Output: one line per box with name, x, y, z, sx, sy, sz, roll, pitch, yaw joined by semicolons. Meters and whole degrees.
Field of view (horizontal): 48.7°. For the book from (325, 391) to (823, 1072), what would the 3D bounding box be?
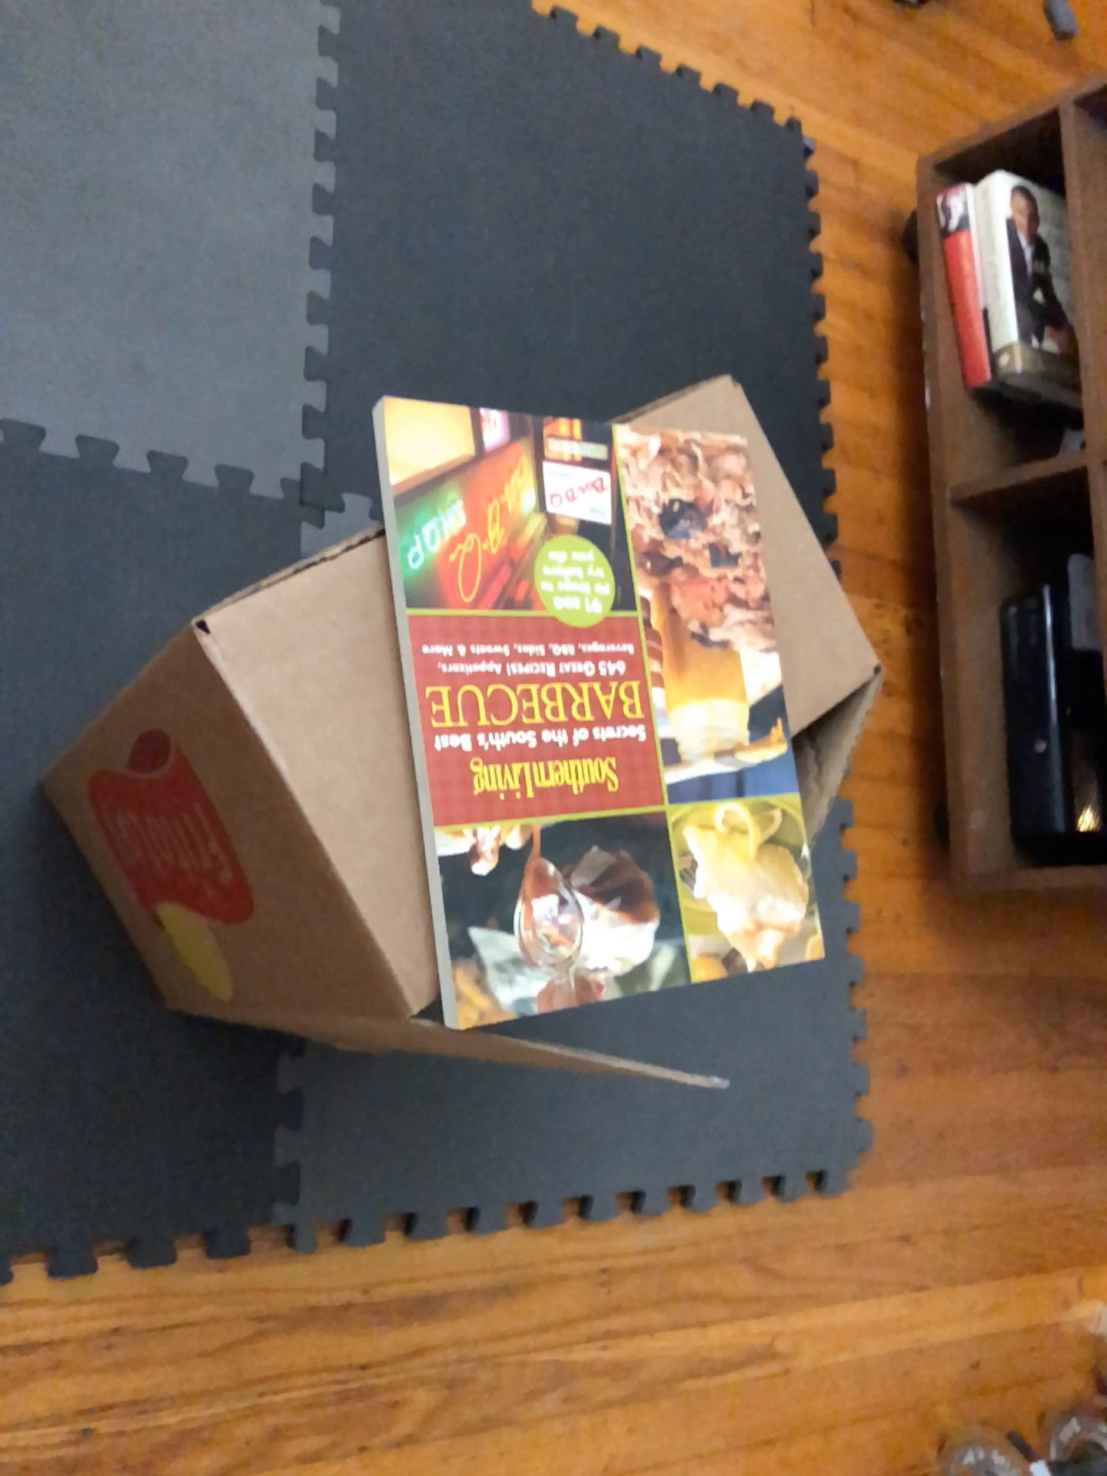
book;0.016;-0.011;0.577;0.221;0.020;0.290;-3;80;-32
